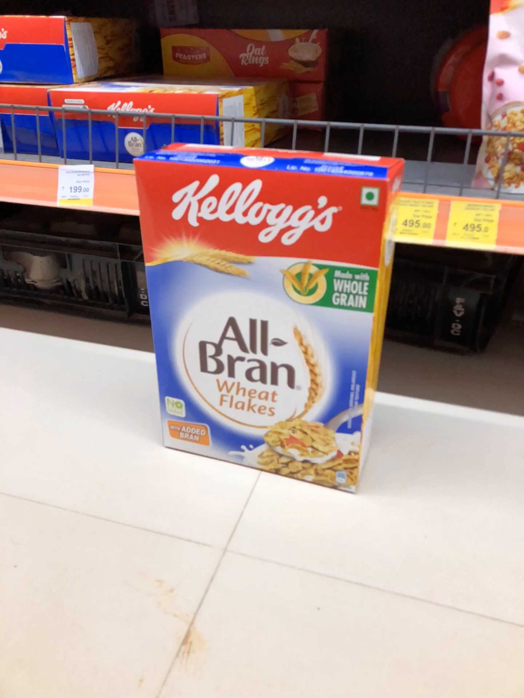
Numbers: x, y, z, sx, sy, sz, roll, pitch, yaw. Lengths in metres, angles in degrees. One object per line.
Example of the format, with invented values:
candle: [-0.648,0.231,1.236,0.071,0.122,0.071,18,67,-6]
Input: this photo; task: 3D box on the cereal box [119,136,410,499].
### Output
cereal box: [0.002,-0.025,0.468,0.190,0.258,0.081,10,30,17]
